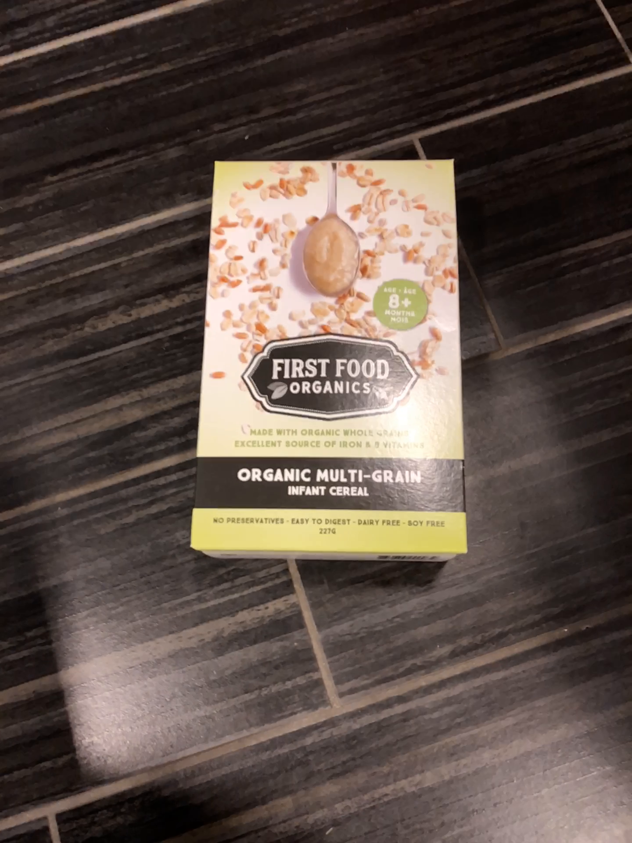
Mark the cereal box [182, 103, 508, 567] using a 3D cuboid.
[{"bbox_3d":[0.014,-0.044,0.360,0.140,0.060,0.230,0,74,2],"label":"cereal box"}]
